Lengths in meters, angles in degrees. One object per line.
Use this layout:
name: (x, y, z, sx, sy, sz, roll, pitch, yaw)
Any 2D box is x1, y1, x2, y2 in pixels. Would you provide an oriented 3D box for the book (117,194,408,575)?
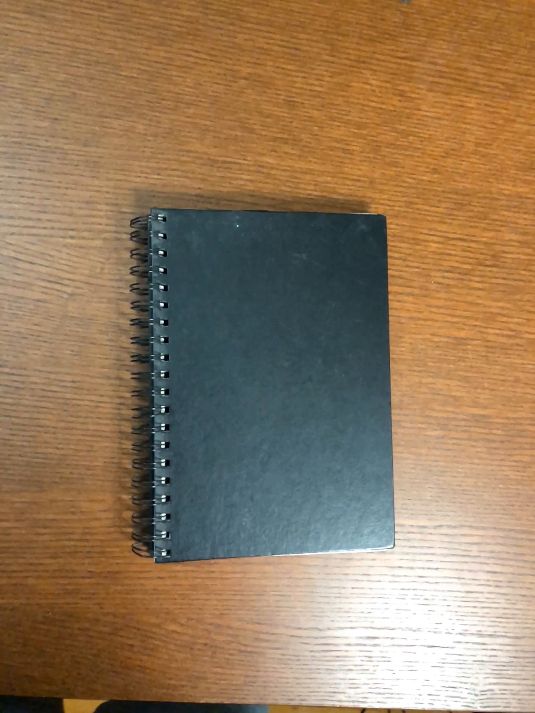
book: (-0.003, 0.016, 0.430, 0.200, 0.030, 0.260, -1, 88, -7)
